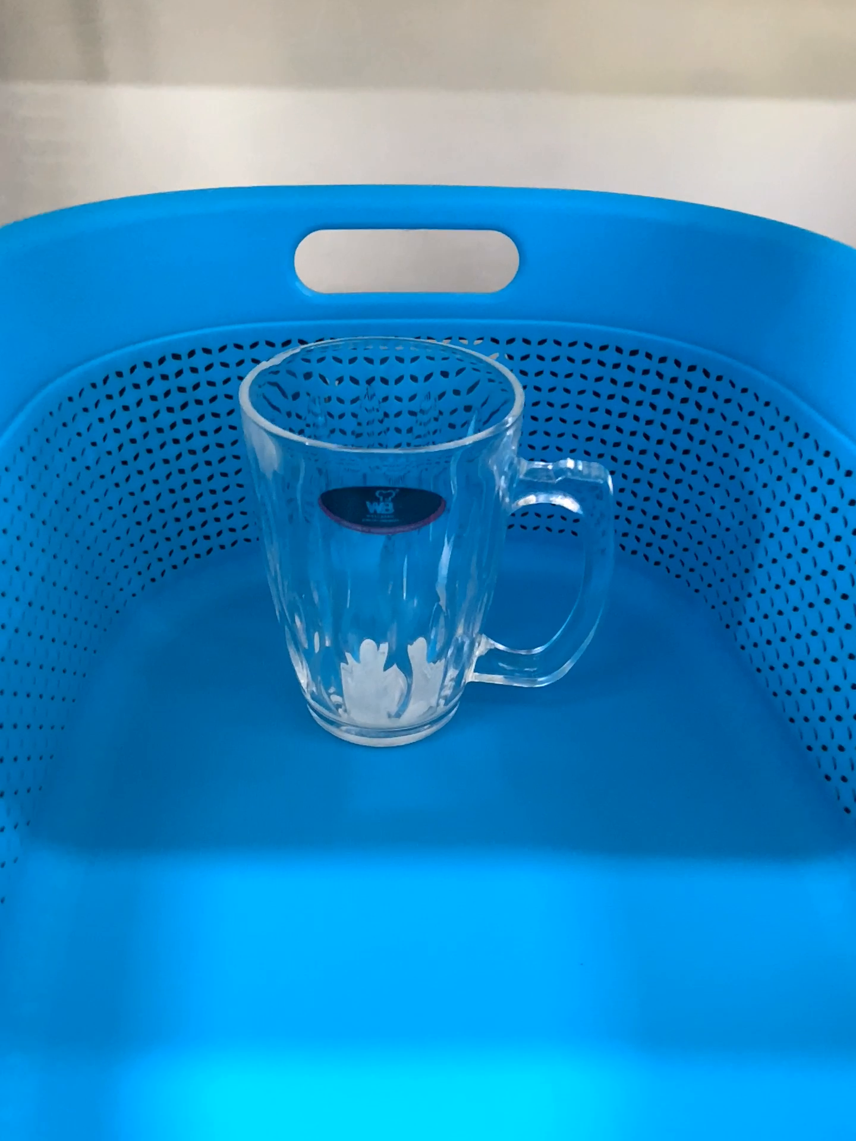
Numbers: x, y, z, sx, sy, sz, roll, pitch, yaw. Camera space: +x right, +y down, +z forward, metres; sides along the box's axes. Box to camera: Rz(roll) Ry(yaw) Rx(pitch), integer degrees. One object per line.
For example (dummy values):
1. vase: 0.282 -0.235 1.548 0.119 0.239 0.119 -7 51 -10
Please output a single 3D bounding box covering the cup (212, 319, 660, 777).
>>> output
1. cup: -0.002 -0.008 0.279 0.109 0.116 0.078 -2 35 -5
